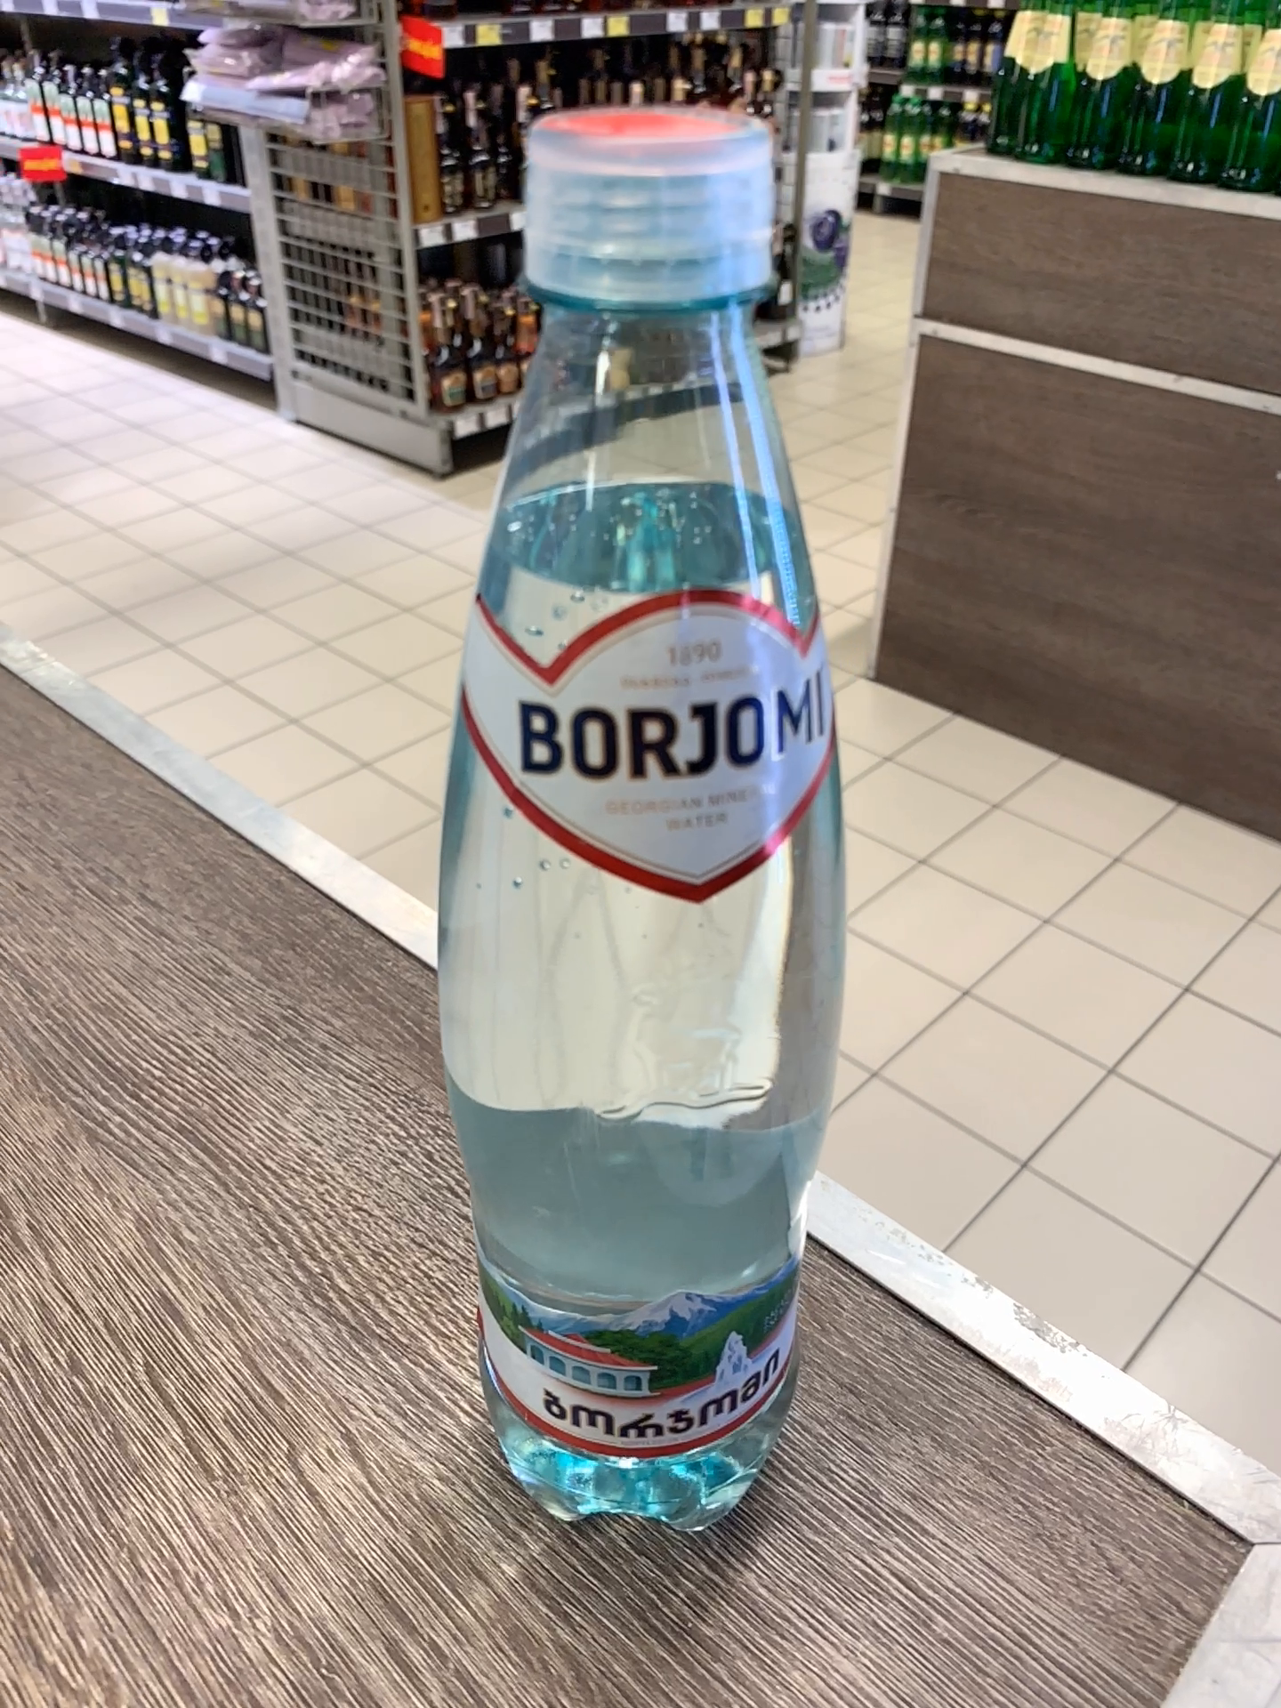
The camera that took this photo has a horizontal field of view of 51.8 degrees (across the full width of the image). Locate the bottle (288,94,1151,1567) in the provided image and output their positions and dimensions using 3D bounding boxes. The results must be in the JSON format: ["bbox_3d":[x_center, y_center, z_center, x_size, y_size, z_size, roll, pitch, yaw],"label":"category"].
[{"bbox_3d":[0.003,0.016,0.217,0.080,0.239,0.070,-4,35,-6],"label":"bottle"}]
